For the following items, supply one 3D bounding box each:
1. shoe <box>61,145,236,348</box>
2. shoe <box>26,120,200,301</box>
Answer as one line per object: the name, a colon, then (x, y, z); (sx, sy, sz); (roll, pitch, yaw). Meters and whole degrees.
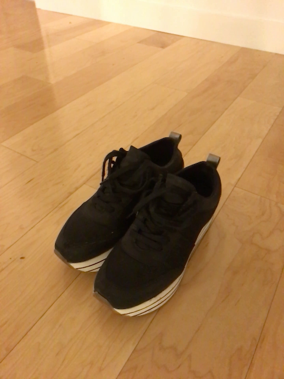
shoe: (0.029, 0.060, 0.474); (0.120, 0.099, 0.292); (22, 46, 23)
shoe: (-0.025, 0.011, 0.510); (0.120, 0.109, 0.292); (22, 46, 23)
